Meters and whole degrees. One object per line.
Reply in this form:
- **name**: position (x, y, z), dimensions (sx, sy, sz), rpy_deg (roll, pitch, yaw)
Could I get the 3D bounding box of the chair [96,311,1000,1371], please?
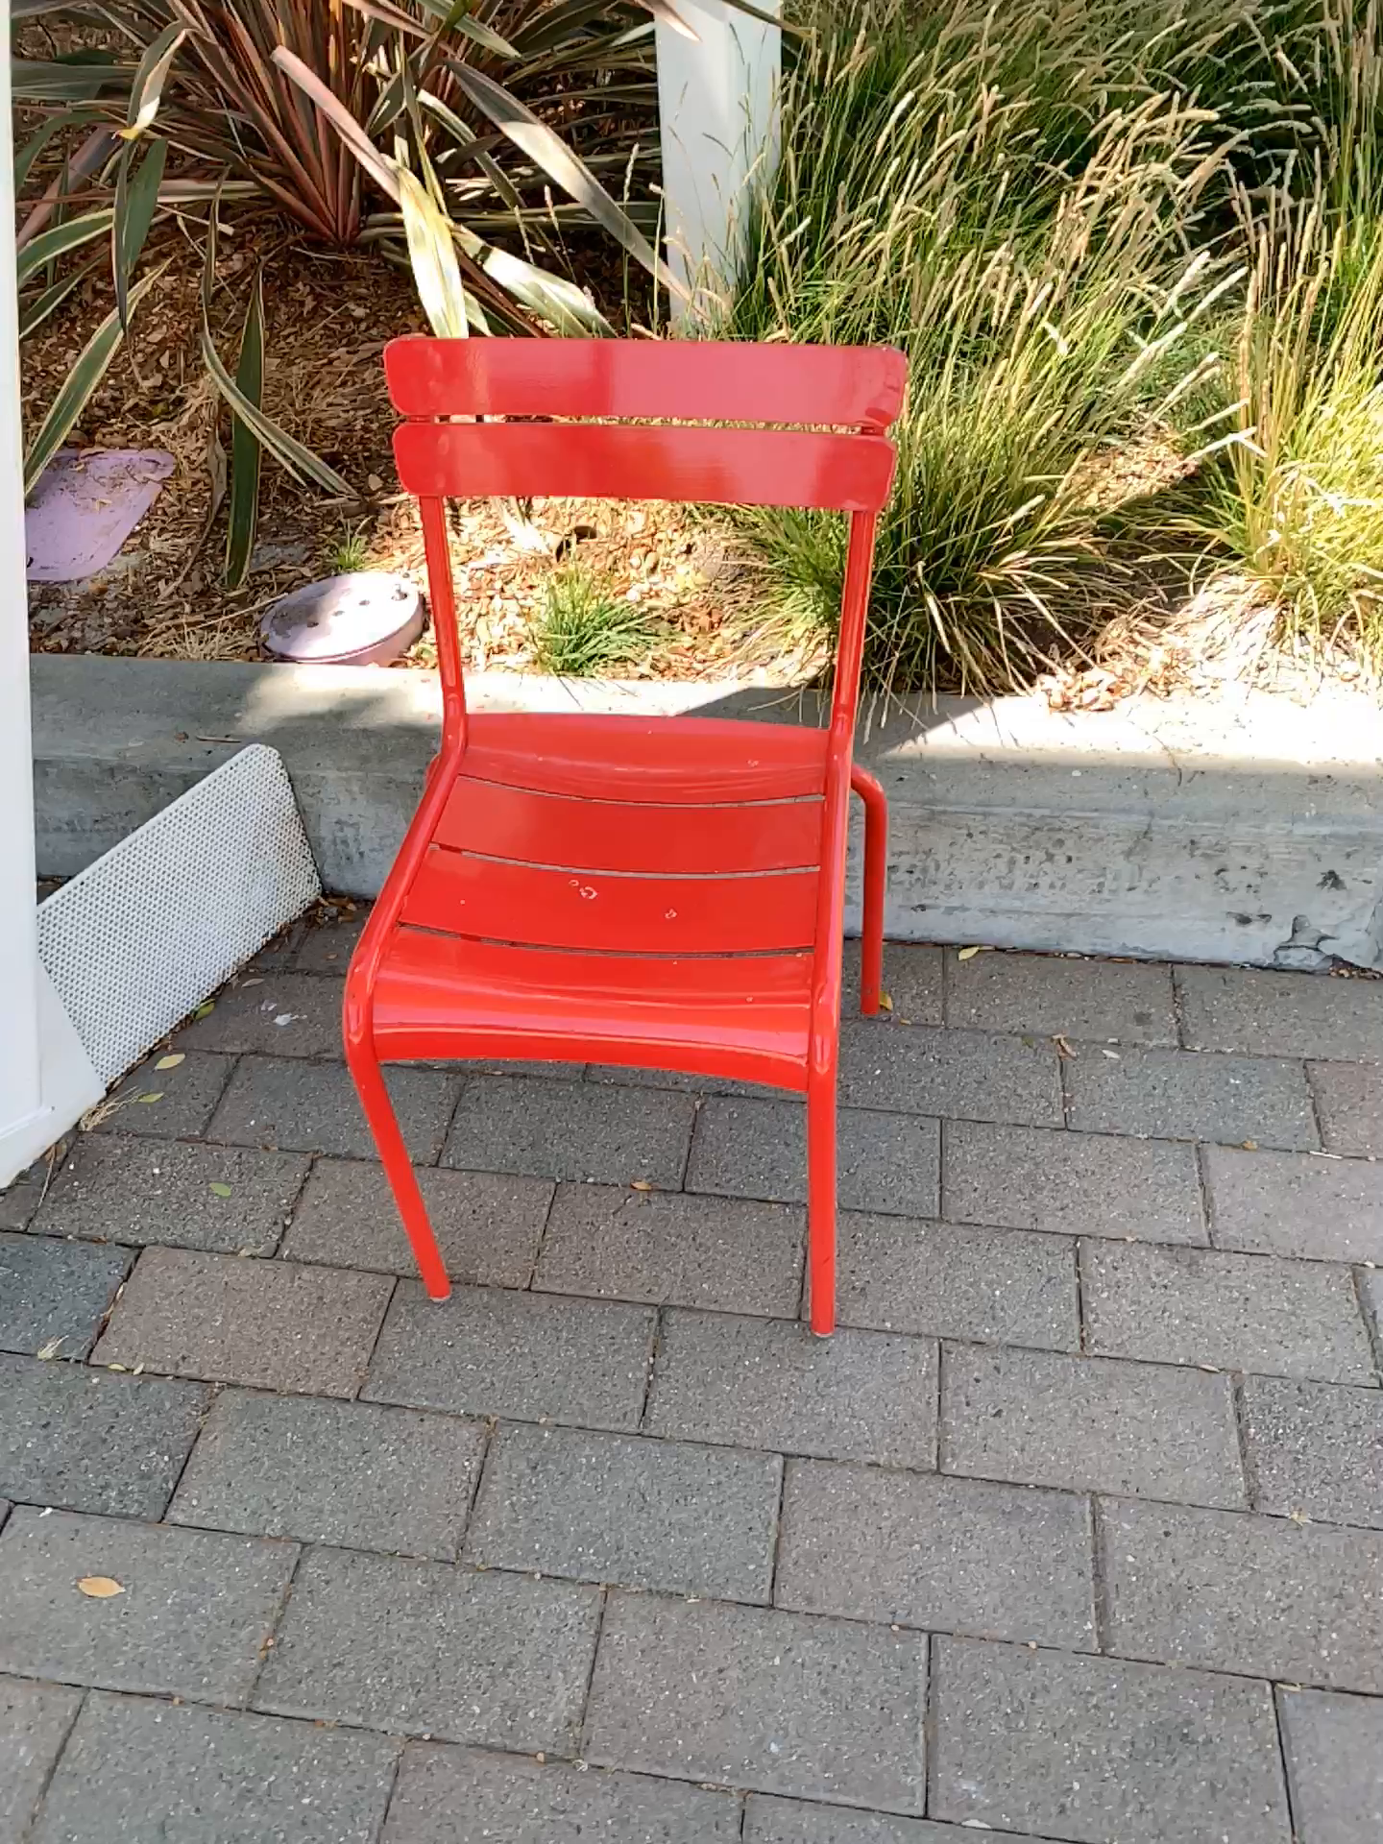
- **chair**: position (-0.047, -0.081, 1.384), dimensions (0.580, 0.785, 0.633), rpy_deg (3, 42, 7)
